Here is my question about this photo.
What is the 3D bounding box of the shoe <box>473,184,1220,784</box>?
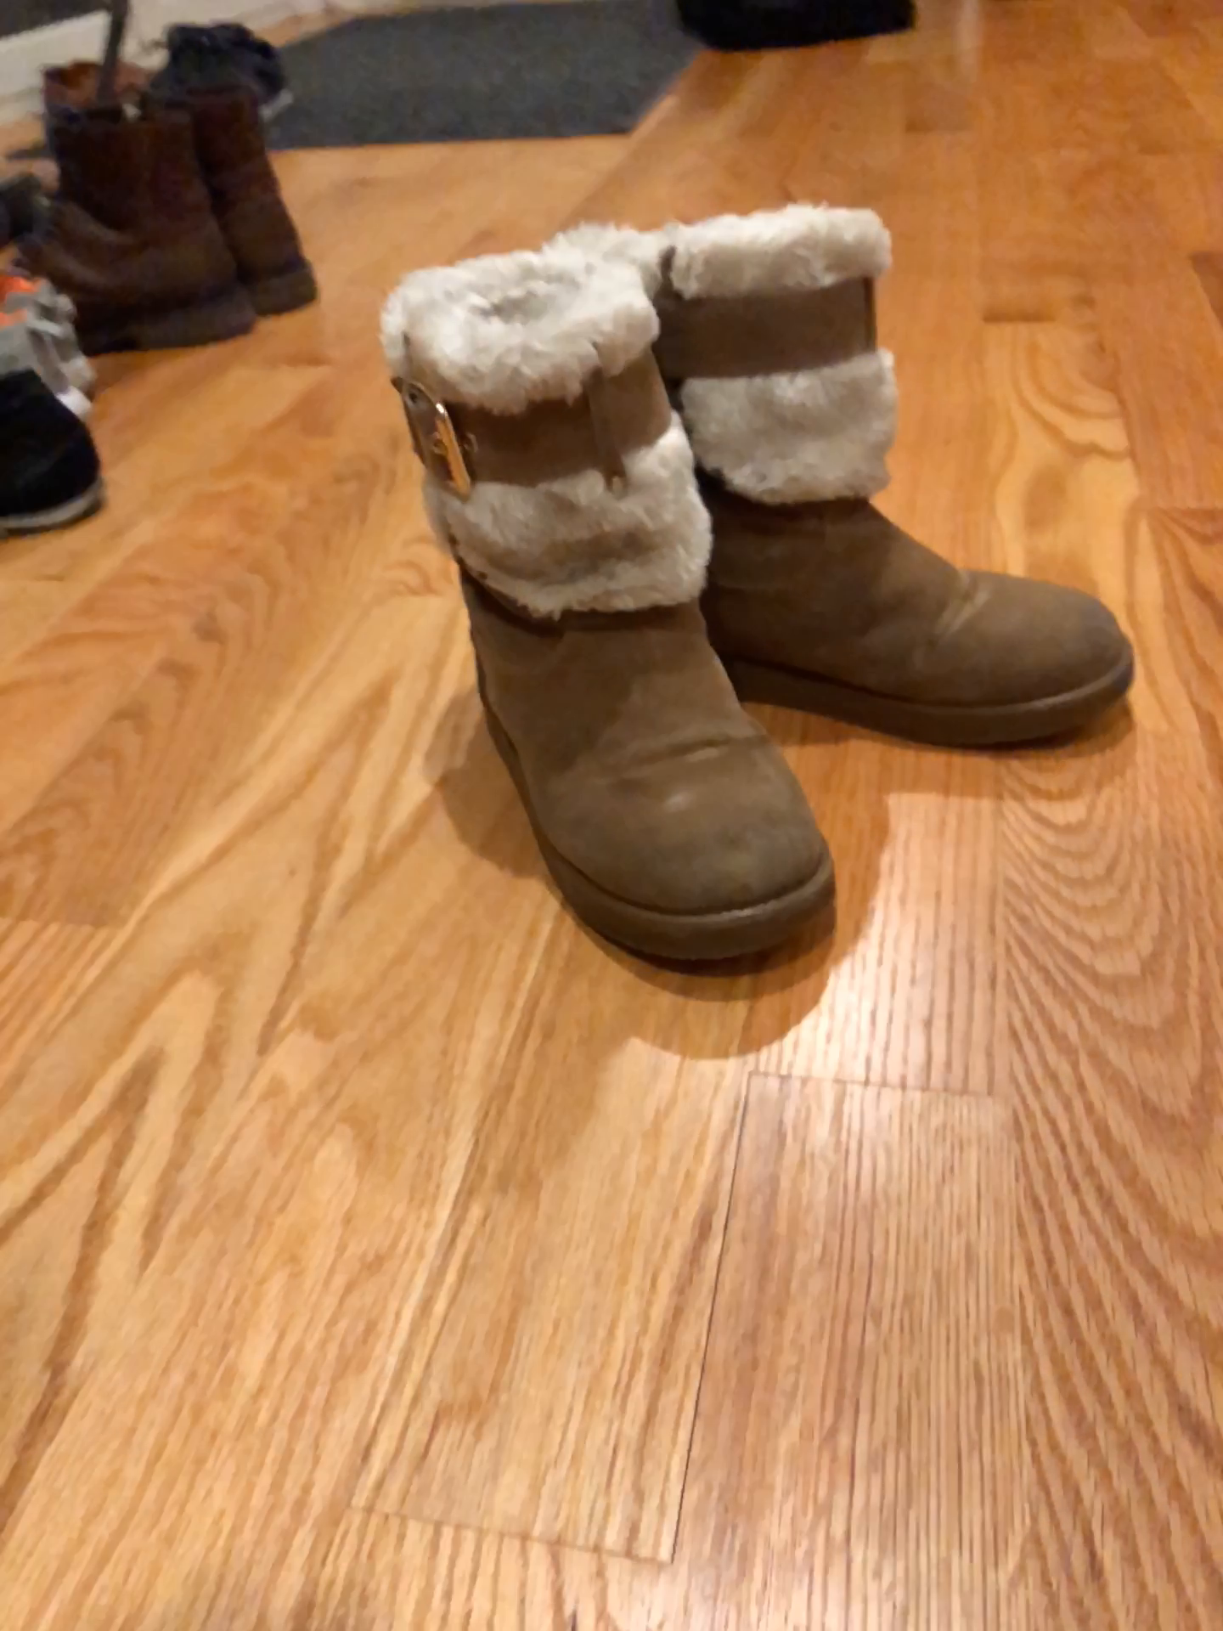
[{"bbox_3d":[0.094,-0.145,0.561,0.254,0.193,0.113,11,39,23],"label":"shoe"}]

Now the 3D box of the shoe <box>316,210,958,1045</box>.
[{"bbox_3d":[-0.003,-0.086,0.488,0.106,0.193,0.255,-19,37,-17],"label":"shoe"}]
